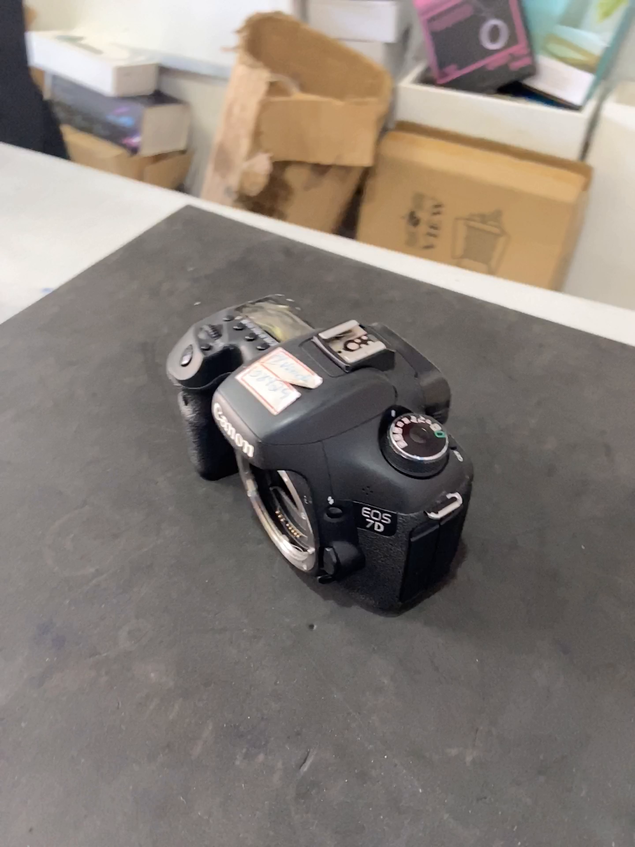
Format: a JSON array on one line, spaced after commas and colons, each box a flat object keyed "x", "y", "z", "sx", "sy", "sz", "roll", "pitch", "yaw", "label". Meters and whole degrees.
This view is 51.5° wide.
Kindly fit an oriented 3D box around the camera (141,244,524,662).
[{"x": -0.001, "y": 0.006, "z": 0.307, "sx": 0.083, "sy": 0.101, "sz": 0.152, "roll": -28, "pitch": 51, "yaw": -25, "label": "camera"}]
